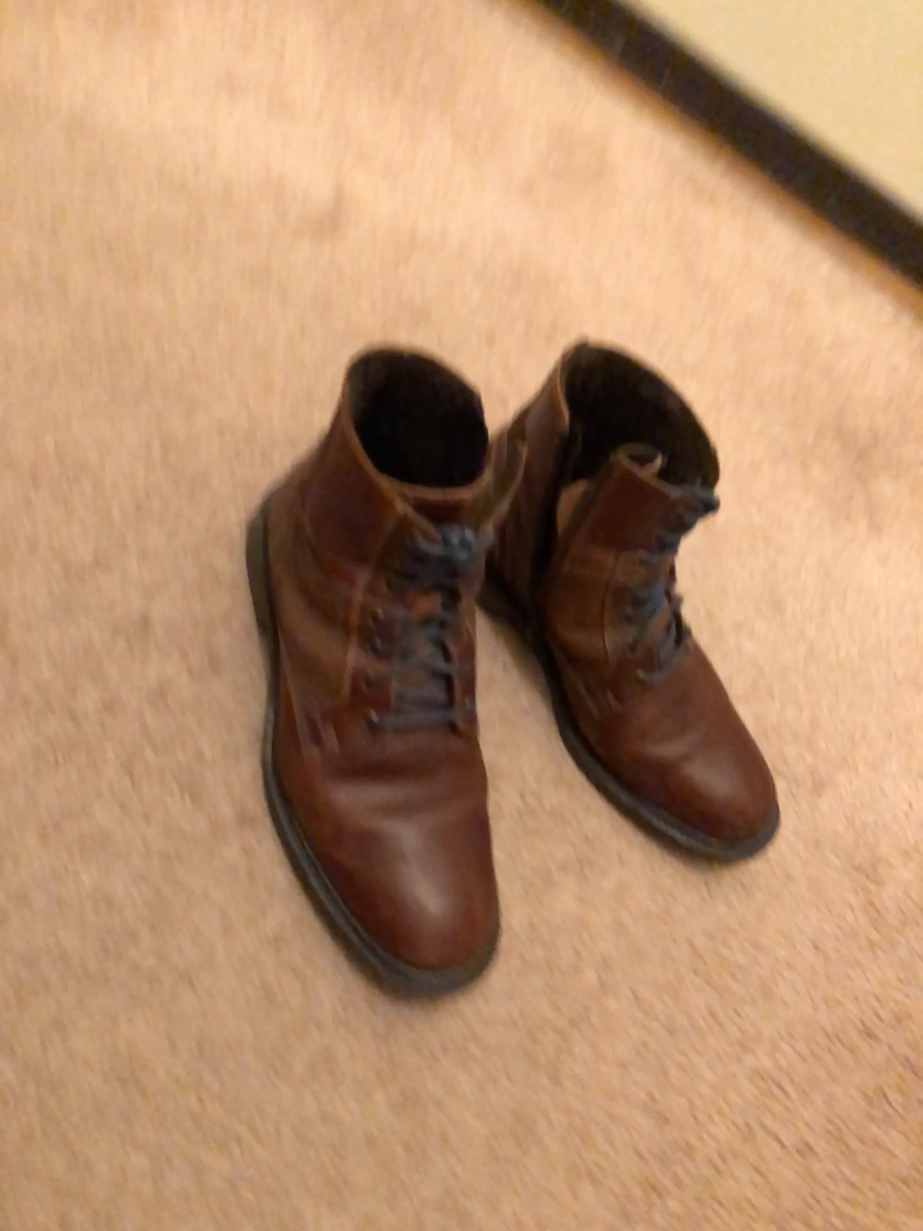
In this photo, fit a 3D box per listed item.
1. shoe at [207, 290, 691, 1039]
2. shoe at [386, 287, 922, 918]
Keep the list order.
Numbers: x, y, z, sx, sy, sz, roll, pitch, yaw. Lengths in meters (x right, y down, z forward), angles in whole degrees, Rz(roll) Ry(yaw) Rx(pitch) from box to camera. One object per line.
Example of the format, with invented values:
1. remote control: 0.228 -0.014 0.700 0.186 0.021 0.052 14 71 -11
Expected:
1. shoe: -0.030 0.025 0.505 0.113 0.172 0.316 -5 68 -26
2. shoe: 0.110 -0.002 0.580 0.111 0.172 0.301 -29 79 -32
